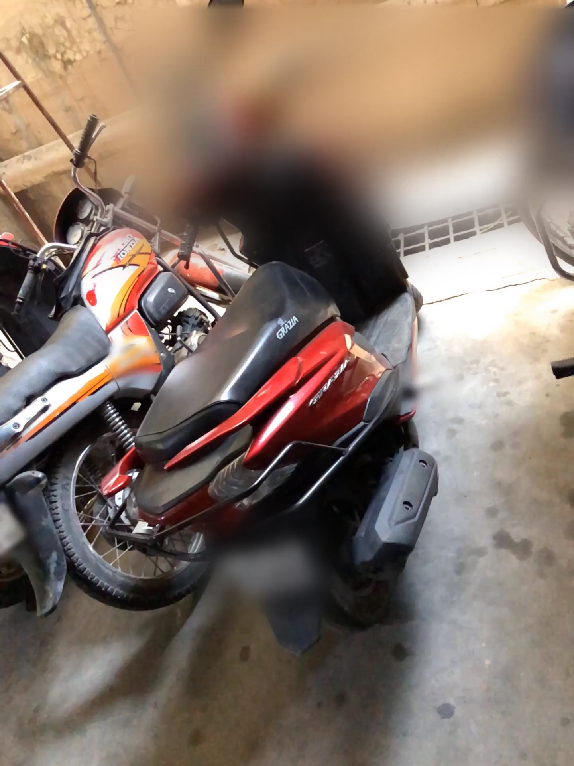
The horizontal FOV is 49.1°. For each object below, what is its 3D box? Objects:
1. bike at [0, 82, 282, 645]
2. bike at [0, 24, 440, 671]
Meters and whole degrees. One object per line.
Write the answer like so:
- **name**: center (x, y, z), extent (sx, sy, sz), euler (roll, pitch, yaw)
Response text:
- **bike**: center (-0.718, -0.141, 2.218), extent (0.839, 1.089, 1.657), euler (-13, 37, 20)
- **bike**: center (-0.056, -0.149, 1.854), extent (0.630, 1.140, 1.445), euler (-13, 39, 20)
